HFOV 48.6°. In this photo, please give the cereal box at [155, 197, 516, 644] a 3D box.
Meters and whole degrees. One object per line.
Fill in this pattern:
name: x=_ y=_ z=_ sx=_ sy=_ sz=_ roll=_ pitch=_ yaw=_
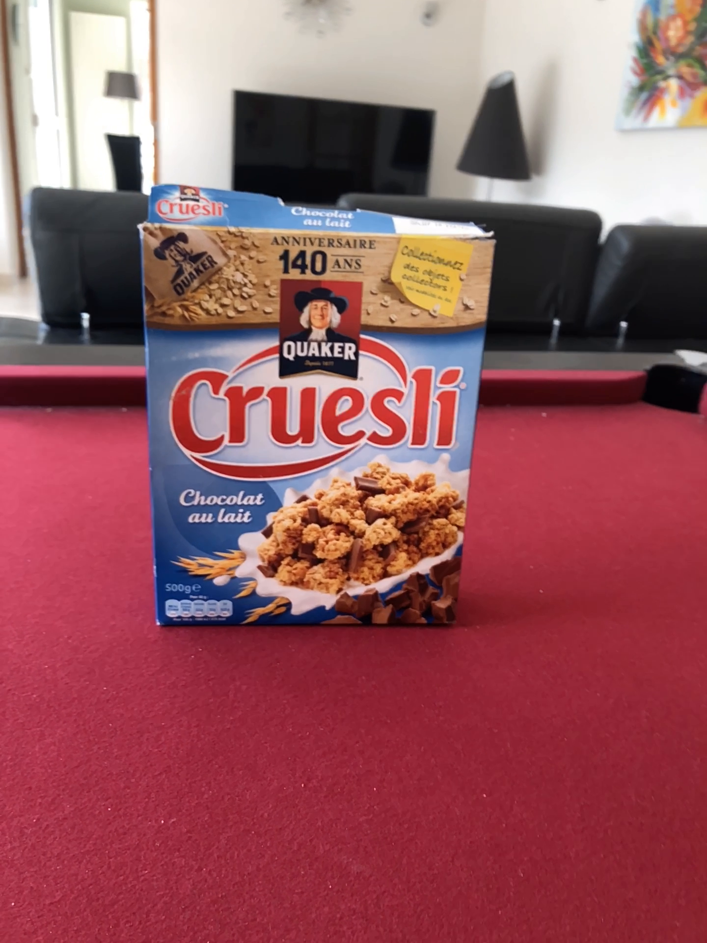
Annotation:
cereal box: x=-0.019 y=-0.022 z=0.477 sx=0.190 sy=0.259 sz=0.050 roll=0 pitch=22 yaw=-11
